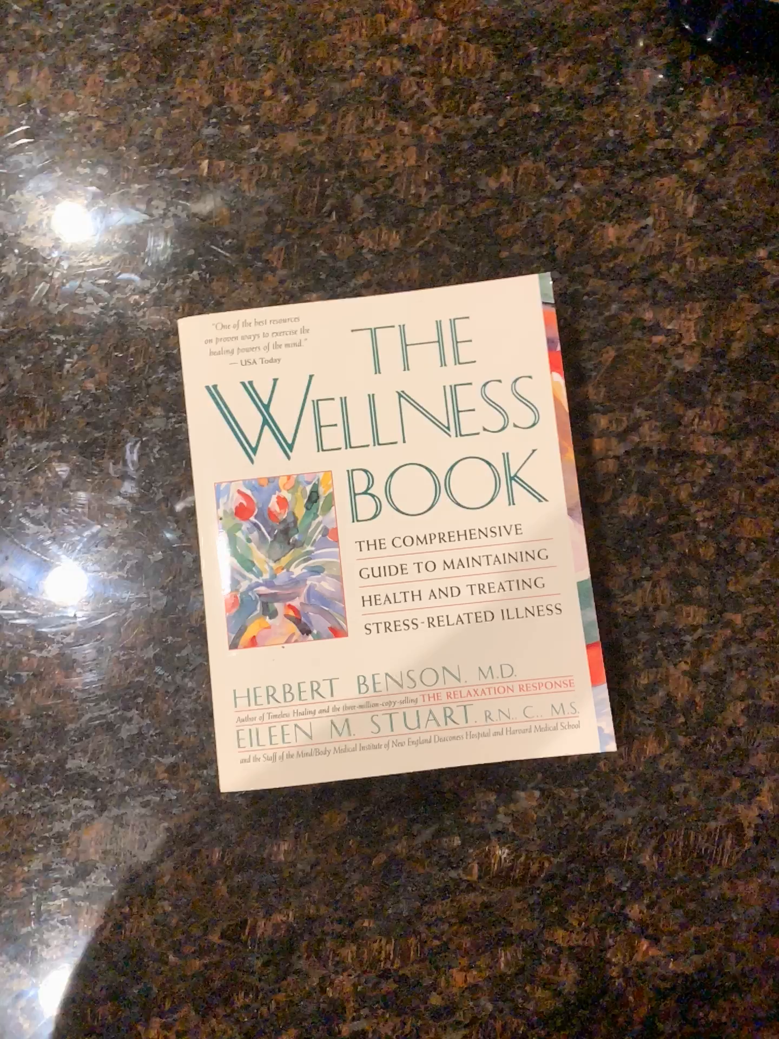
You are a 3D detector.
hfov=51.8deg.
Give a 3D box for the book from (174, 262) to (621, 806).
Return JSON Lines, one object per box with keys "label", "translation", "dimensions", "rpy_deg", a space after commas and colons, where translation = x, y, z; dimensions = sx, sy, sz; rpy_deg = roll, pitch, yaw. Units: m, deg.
{"label": "book", "translation": [0.001, 0.006, 0.411], "dimensions": [0.187, 0.060, 0.240], "rpy_deg": [-6, 84, 1]}
